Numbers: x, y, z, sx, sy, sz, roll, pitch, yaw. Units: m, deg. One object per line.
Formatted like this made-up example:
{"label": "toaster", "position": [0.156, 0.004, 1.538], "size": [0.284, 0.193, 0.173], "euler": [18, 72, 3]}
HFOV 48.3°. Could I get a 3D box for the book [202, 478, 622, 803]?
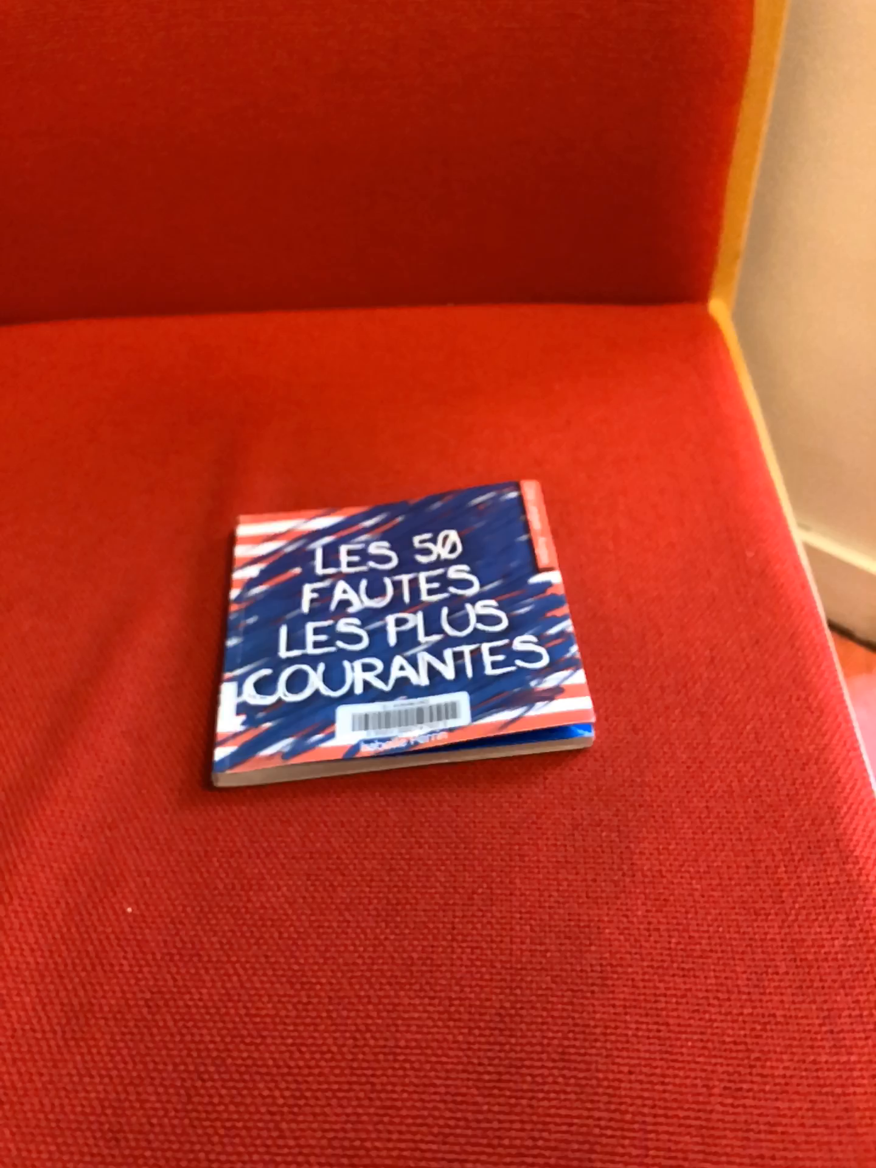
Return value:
{"label": "book", "position": [-0.014, 0.015, 0.404], "size": [0.148, 0.020, 0.149], "euler": [-5, 43, -1]}
